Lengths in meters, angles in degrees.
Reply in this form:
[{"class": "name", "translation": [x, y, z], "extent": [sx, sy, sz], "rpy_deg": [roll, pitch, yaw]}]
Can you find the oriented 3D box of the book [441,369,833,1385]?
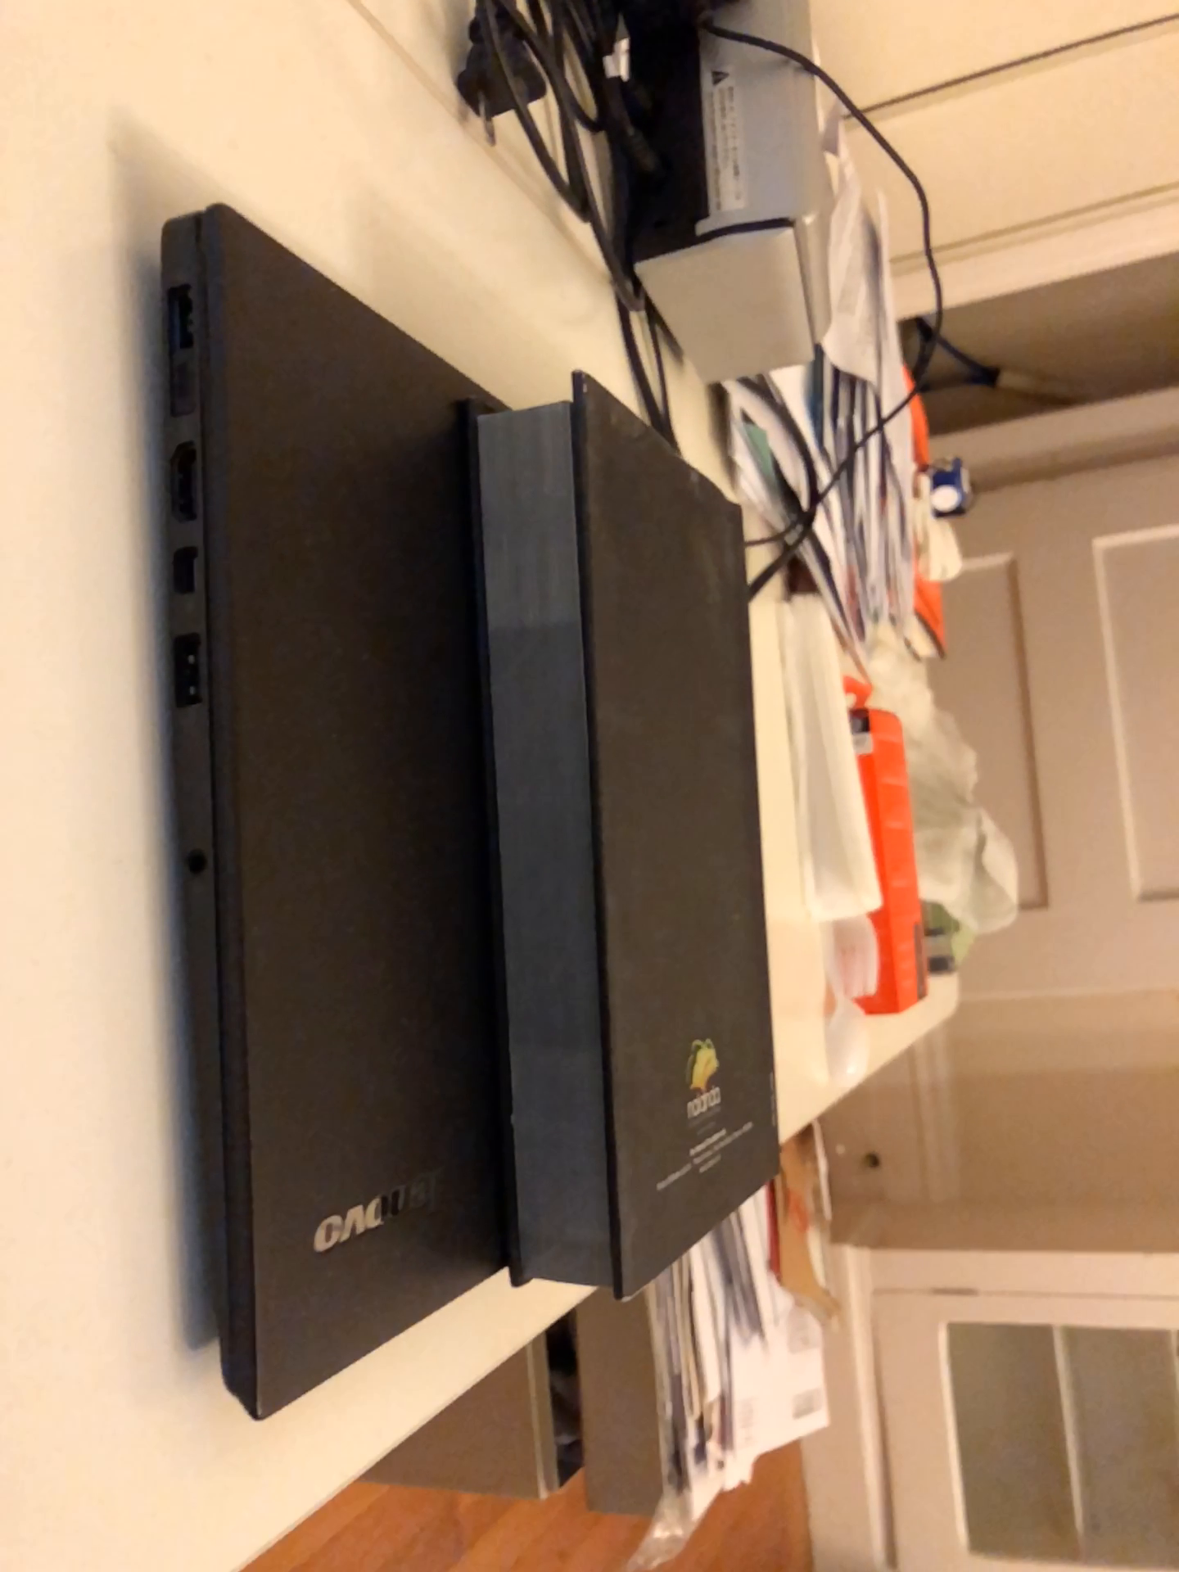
[{"class": "book", "translation": [0.021, 0.022, 0.373], "extent": [0.151, 0.040, 0.230], "rpy_deg": [8, 76, -67]}]
